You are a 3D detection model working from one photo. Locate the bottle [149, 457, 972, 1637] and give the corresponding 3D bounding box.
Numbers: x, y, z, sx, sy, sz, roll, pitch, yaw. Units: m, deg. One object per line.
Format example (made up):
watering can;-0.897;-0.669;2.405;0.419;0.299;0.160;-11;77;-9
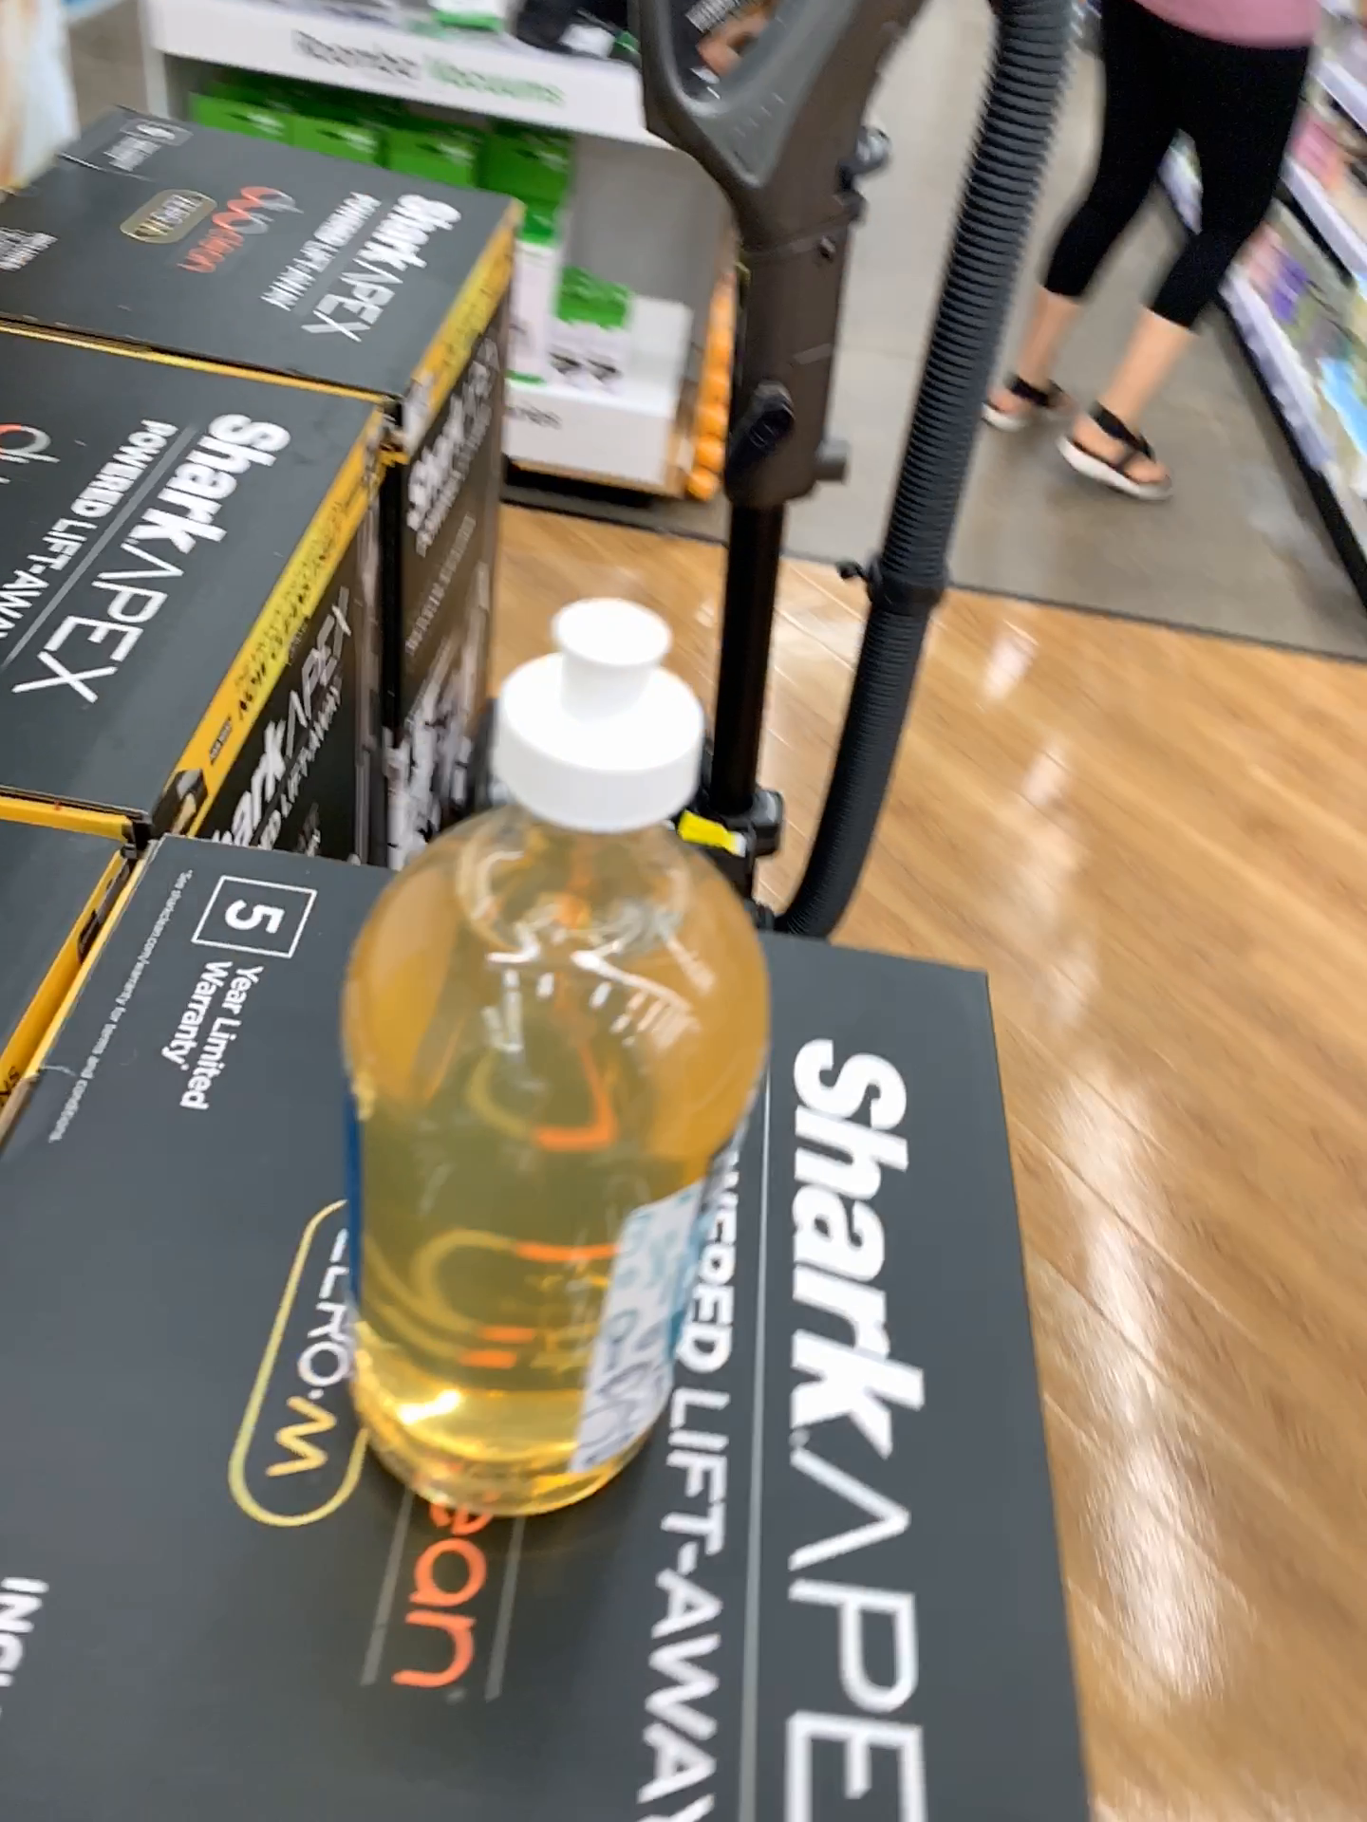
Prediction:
bottle;-0.025;0.040;0.270;0.090;0.209;0.090;6;43;-6
